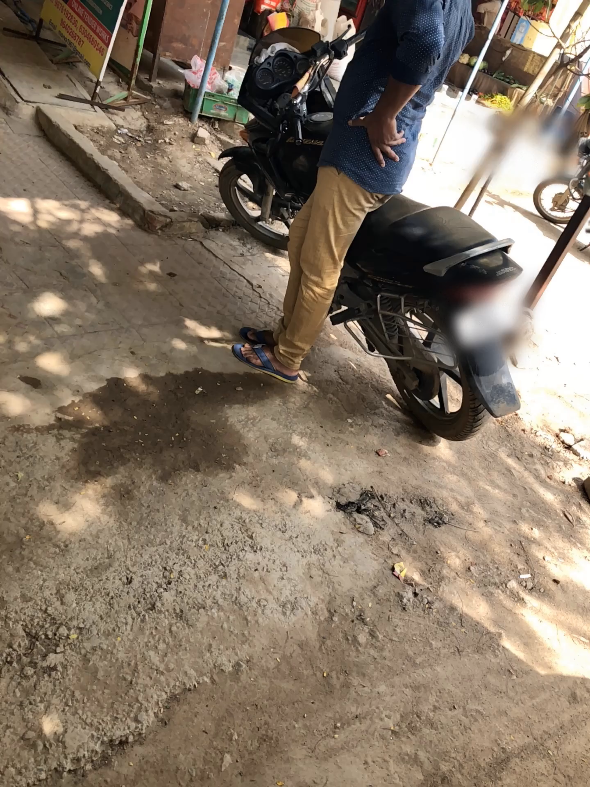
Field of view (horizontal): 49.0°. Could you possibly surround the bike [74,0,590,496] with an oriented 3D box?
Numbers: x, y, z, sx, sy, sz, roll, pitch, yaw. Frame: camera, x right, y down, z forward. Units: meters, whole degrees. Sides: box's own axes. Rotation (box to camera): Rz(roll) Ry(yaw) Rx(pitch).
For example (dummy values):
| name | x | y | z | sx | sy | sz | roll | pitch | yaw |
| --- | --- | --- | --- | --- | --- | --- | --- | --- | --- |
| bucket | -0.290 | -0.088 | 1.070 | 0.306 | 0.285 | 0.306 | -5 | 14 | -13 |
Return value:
| name | x | y | z | sx | sy | sz | roll | pitch | yaw |
| --- | --- | --- | --- | --- | --- | --- | --- | --- | --- |
| bike | -0.014 | -0.783 | 2.419 | 0.800 | 1.176 | 1.895 | -7 | 44 | -38 |
